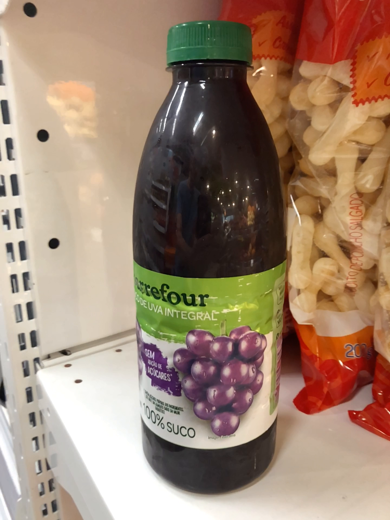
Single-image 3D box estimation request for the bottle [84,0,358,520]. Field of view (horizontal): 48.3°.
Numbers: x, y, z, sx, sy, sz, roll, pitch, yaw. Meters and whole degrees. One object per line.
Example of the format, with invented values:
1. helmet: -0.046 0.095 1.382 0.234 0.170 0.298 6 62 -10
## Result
1. bottle: 0.011 0.005 0.227 0.090 0.229 0.080 15 23 37
